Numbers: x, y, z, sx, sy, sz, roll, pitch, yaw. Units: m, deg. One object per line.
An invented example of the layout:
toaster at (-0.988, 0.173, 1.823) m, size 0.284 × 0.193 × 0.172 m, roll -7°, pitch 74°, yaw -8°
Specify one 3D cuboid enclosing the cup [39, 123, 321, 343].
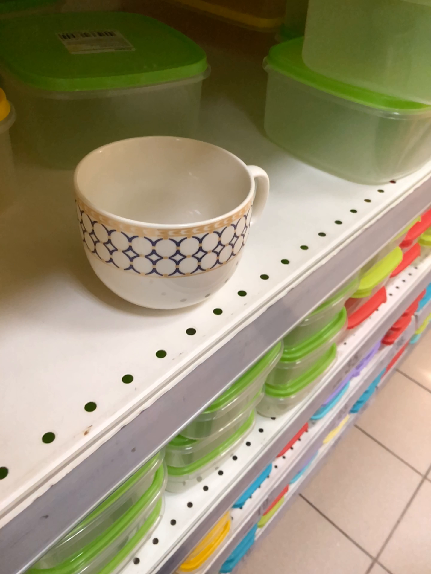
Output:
cup at (-0.025, -0.043, 0.303) m, size 0.134 × 0.062 × 0.105 m, roll -17°, pitch 48°, yaw -24°
